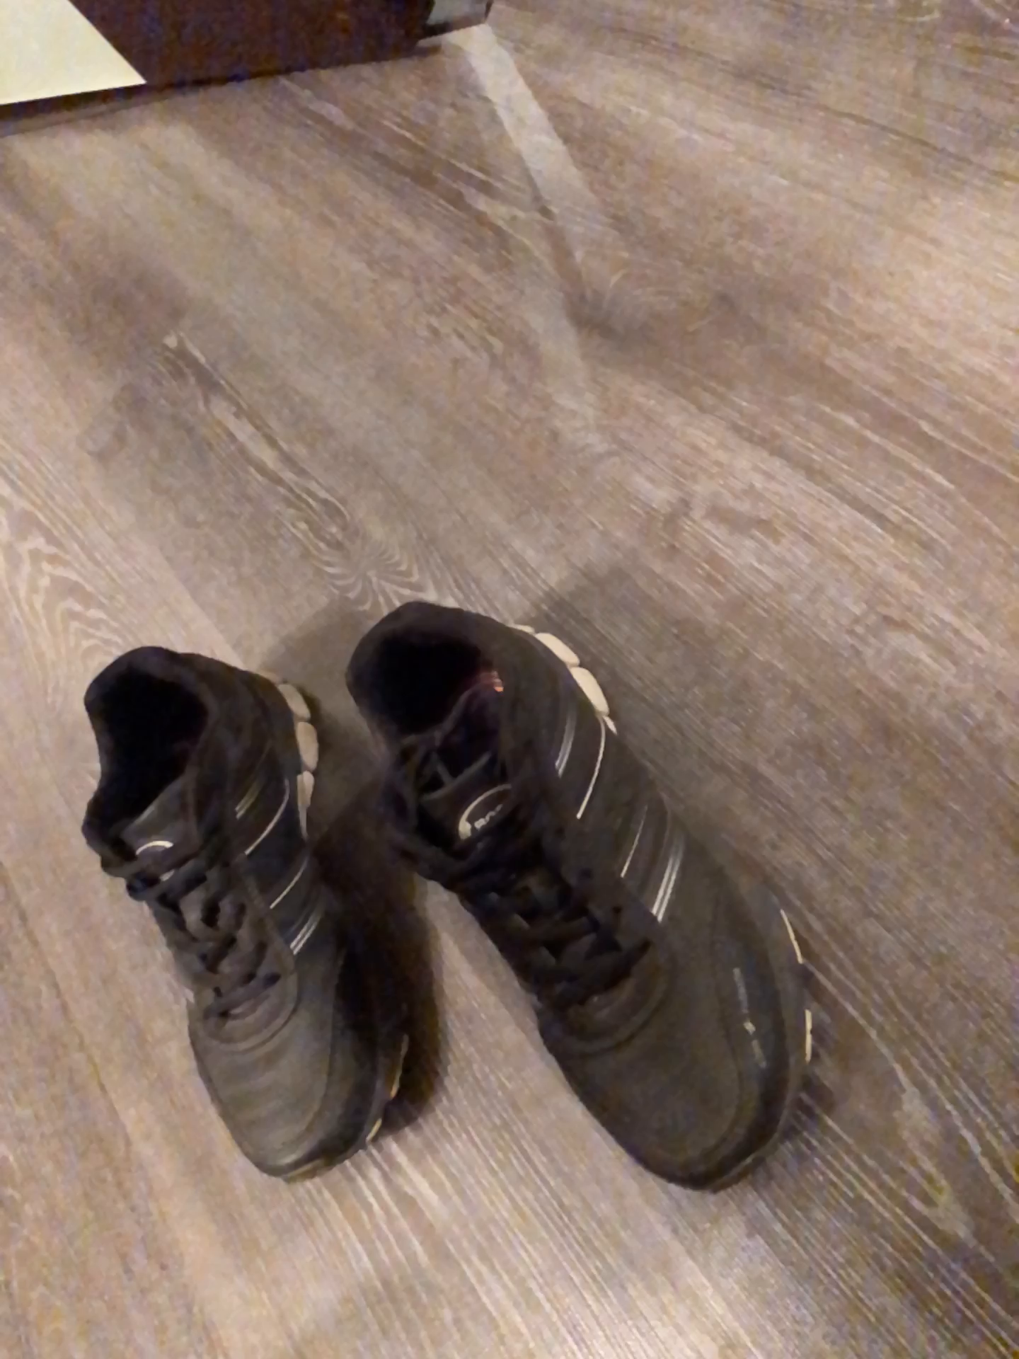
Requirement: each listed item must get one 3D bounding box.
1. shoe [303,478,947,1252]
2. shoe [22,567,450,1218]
[{"bbox_3d":[0.033,0.062,0.438,0.110,0.100,0.261,-38,56,11],"label":"shoe"},{"bbox_3d":[-0.129,0.087,0.498,0.100,0.090,0.251,-33,57,14],"label":"shoe"}]
